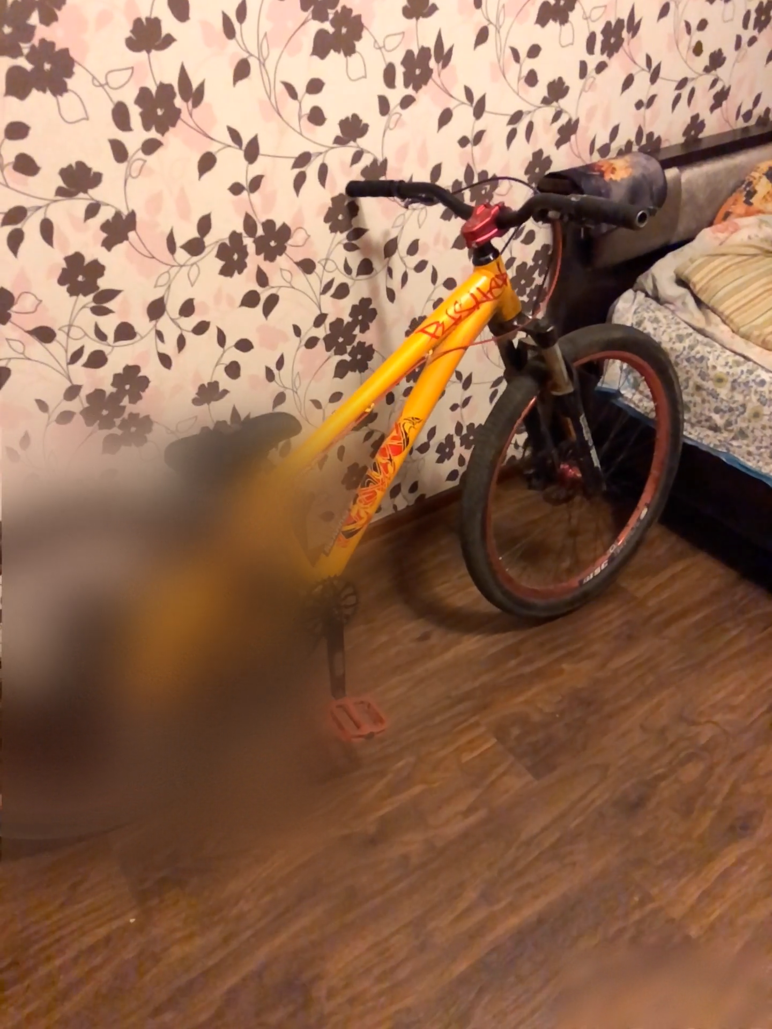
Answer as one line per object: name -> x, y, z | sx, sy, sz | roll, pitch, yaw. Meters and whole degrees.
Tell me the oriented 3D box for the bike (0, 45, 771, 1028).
bike -> -0.042, -0.076, 1.497 | 1.678, 1.005, 0.663 | -24, 42, -23
